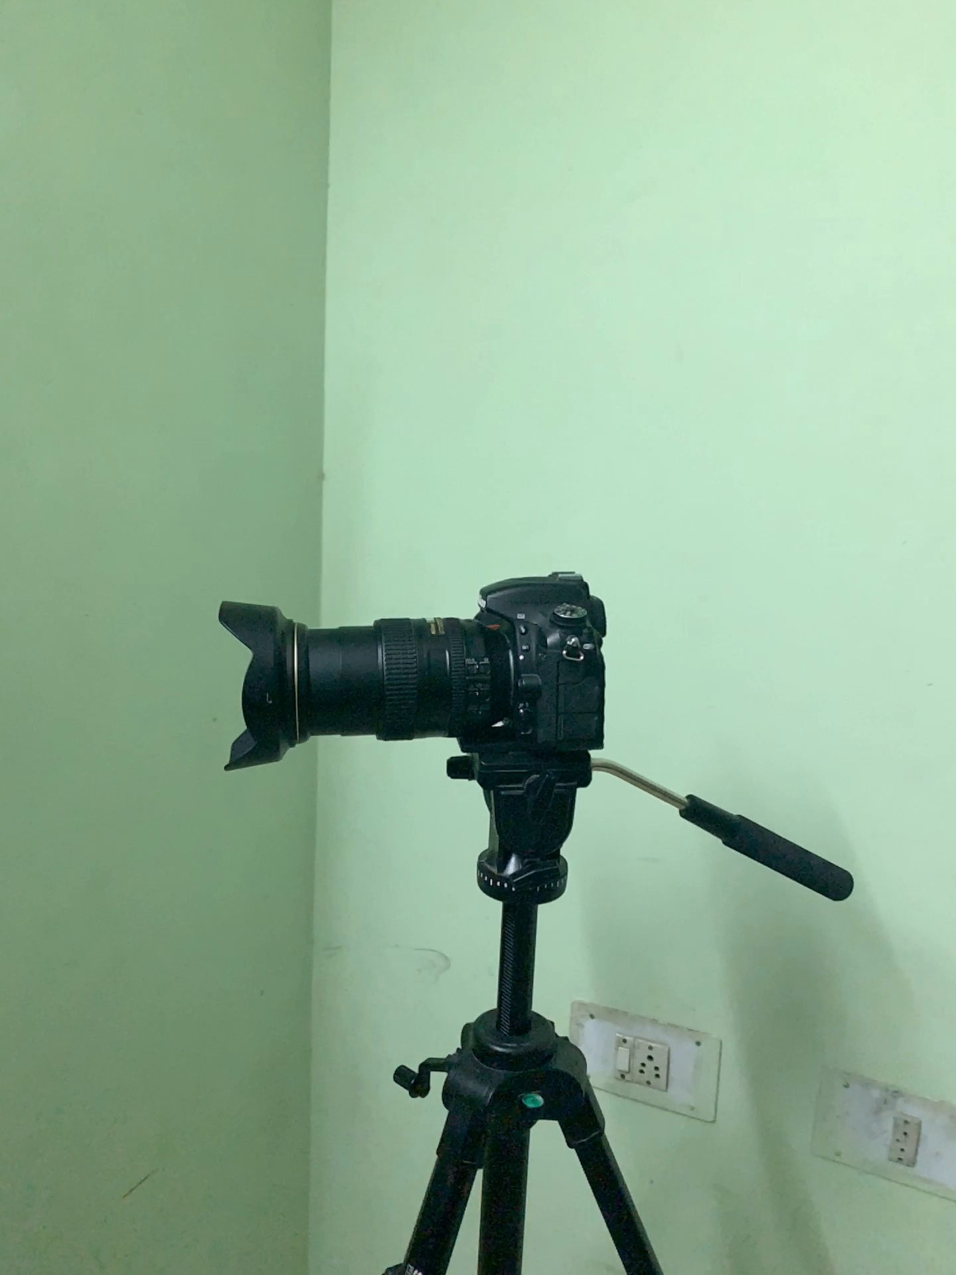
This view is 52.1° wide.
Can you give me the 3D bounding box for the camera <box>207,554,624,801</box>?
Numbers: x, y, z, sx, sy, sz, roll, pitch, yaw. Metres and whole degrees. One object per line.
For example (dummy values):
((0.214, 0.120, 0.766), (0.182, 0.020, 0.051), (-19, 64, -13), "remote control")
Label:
((-0.049, 0.019, 0.674), (0.250, 0.132, 0.164), (1, 10, -10), "camera")
